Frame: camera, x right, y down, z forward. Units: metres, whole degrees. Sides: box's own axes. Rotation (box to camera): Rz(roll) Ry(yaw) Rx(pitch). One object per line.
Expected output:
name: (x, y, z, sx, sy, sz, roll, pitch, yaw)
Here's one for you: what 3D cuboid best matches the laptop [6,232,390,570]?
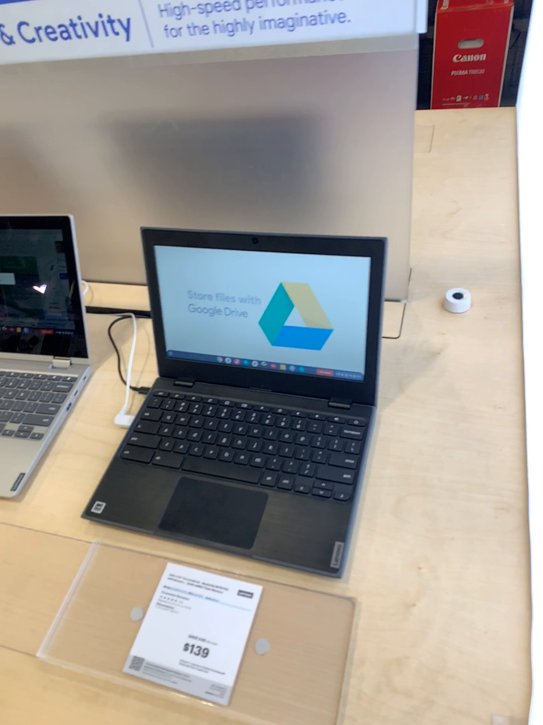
laptop: (-0.041, 0.019, 0.562, 0.276, 0.170, 0.266, 7, 49, 19)
